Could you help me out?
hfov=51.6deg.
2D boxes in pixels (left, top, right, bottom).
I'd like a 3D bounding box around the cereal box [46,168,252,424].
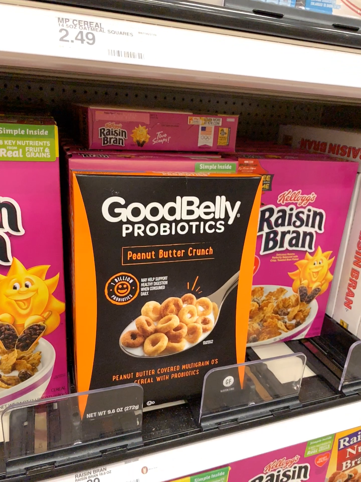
[{"bbox_3d":[-0.032,0.050,0.404,0.200,0.249,0.050,-4,15,-21],"label":"cereal box"}]
